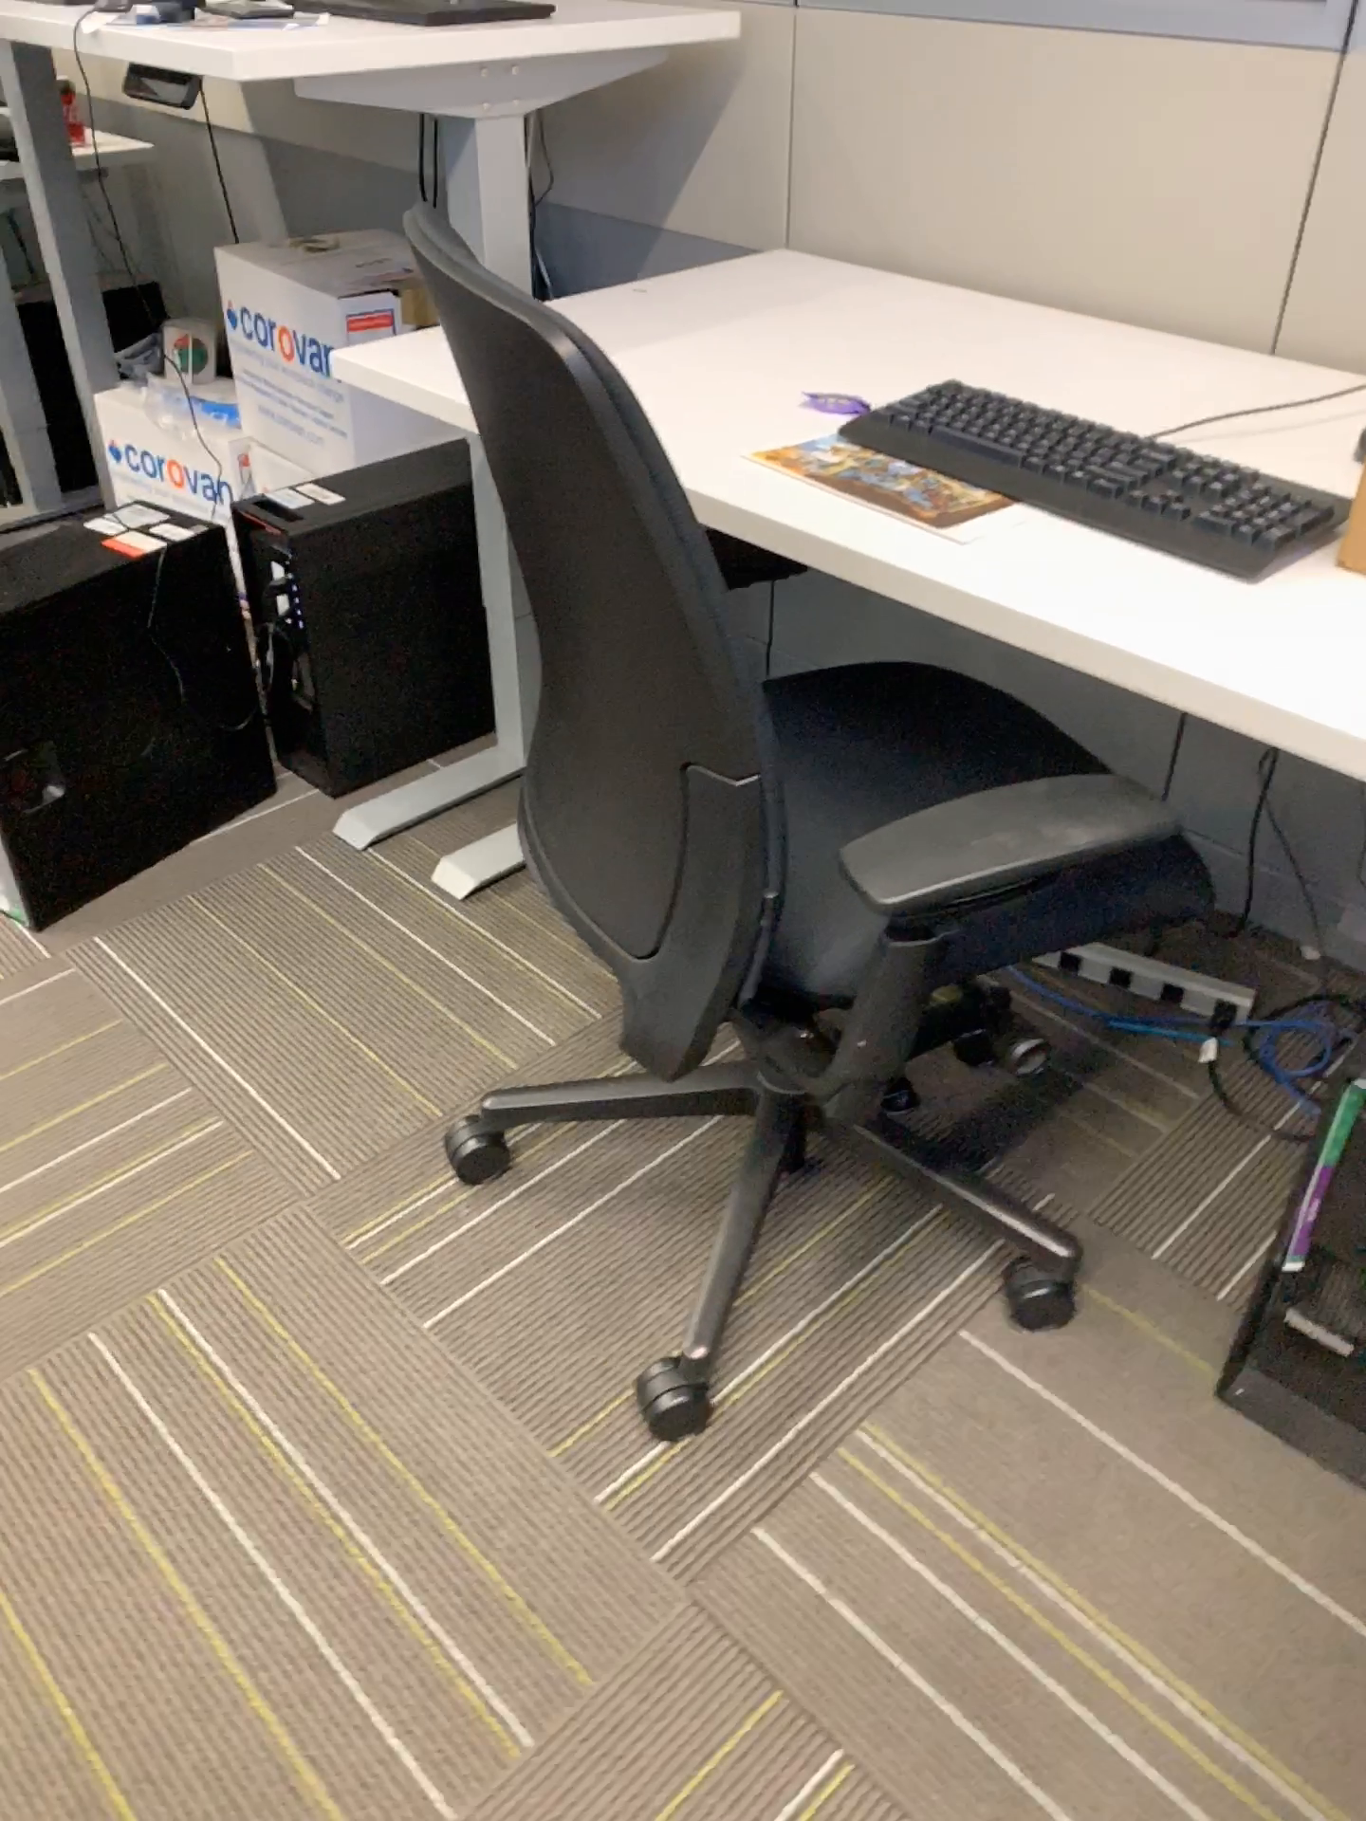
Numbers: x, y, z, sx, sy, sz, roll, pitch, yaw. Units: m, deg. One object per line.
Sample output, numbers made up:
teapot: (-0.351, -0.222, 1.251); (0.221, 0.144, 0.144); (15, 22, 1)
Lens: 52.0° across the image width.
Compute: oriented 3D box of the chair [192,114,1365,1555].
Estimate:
chair: (0.114, -0.133, 1.292); (0.751, 0.934, 0.704); (-20, 41, -25)
